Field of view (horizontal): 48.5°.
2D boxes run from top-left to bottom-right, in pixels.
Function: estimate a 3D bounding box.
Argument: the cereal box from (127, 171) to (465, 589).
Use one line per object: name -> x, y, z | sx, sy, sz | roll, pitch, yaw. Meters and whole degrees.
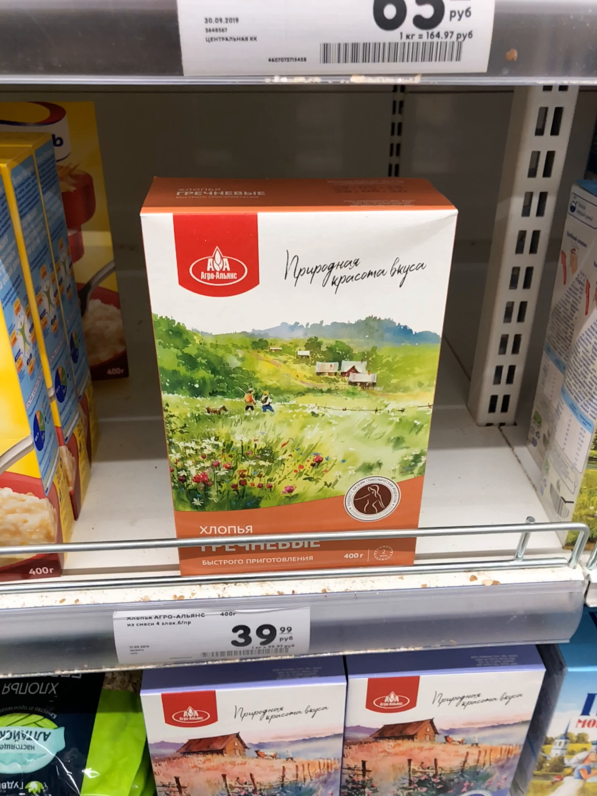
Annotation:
cereal box -> -0.004, -0.003, 0.329 | 0.130, 0.199, 0.060 | -1, 29, -4
